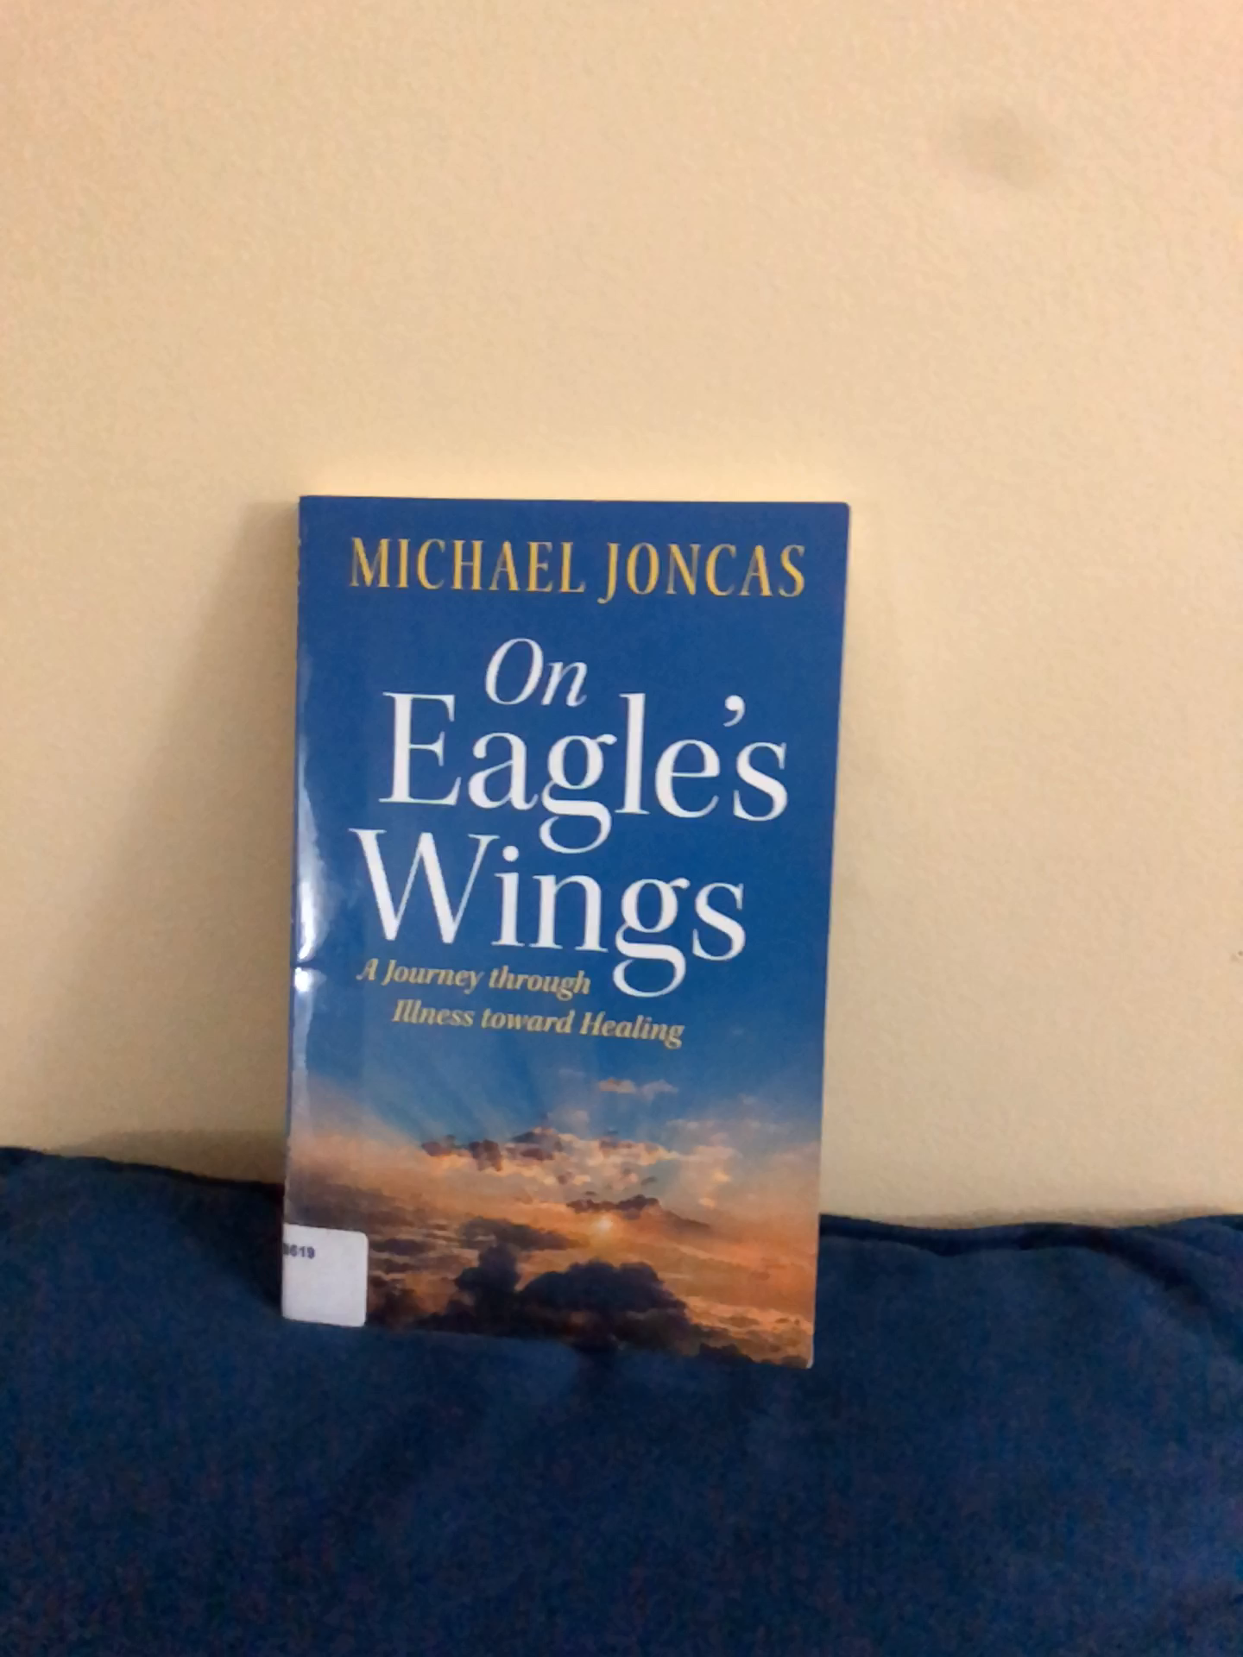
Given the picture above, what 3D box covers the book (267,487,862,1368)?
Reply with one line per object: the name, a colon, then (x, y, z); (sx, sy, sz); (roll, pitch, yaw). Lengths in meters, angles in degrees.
book: (-0.016, 0.023, 0.349); (0.139, 0.211, 0.014); (3, 3, 7)
